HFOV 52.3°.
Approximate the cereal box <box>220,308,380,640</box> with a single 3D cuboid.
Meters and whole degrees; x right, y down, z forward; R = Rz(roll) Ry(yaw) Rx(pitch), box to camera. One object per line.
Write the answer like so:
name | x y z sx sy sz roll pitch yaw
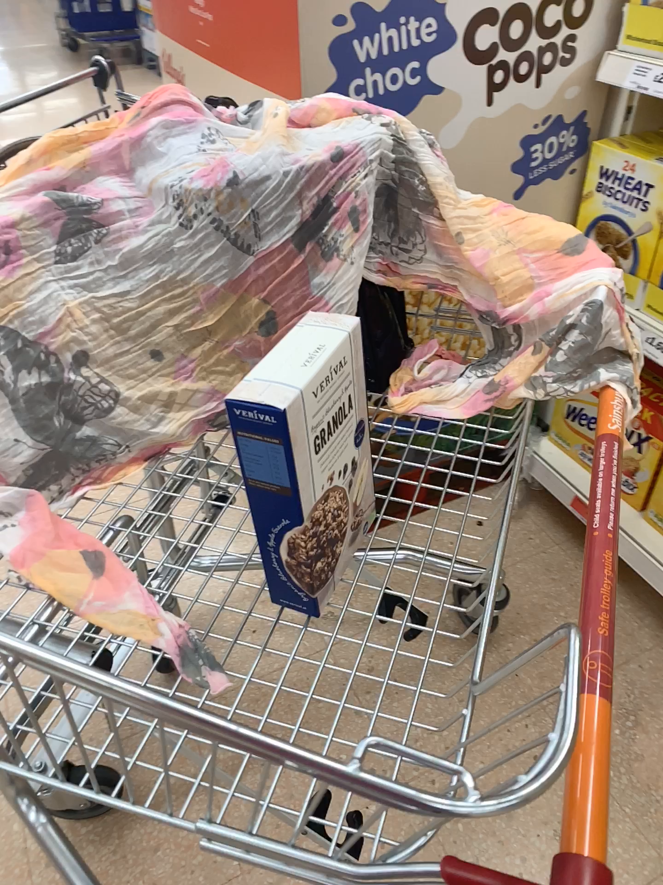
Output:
cereal box | -0.013 0.028 0.554 0.050 0.228 0.141 12 40 22
